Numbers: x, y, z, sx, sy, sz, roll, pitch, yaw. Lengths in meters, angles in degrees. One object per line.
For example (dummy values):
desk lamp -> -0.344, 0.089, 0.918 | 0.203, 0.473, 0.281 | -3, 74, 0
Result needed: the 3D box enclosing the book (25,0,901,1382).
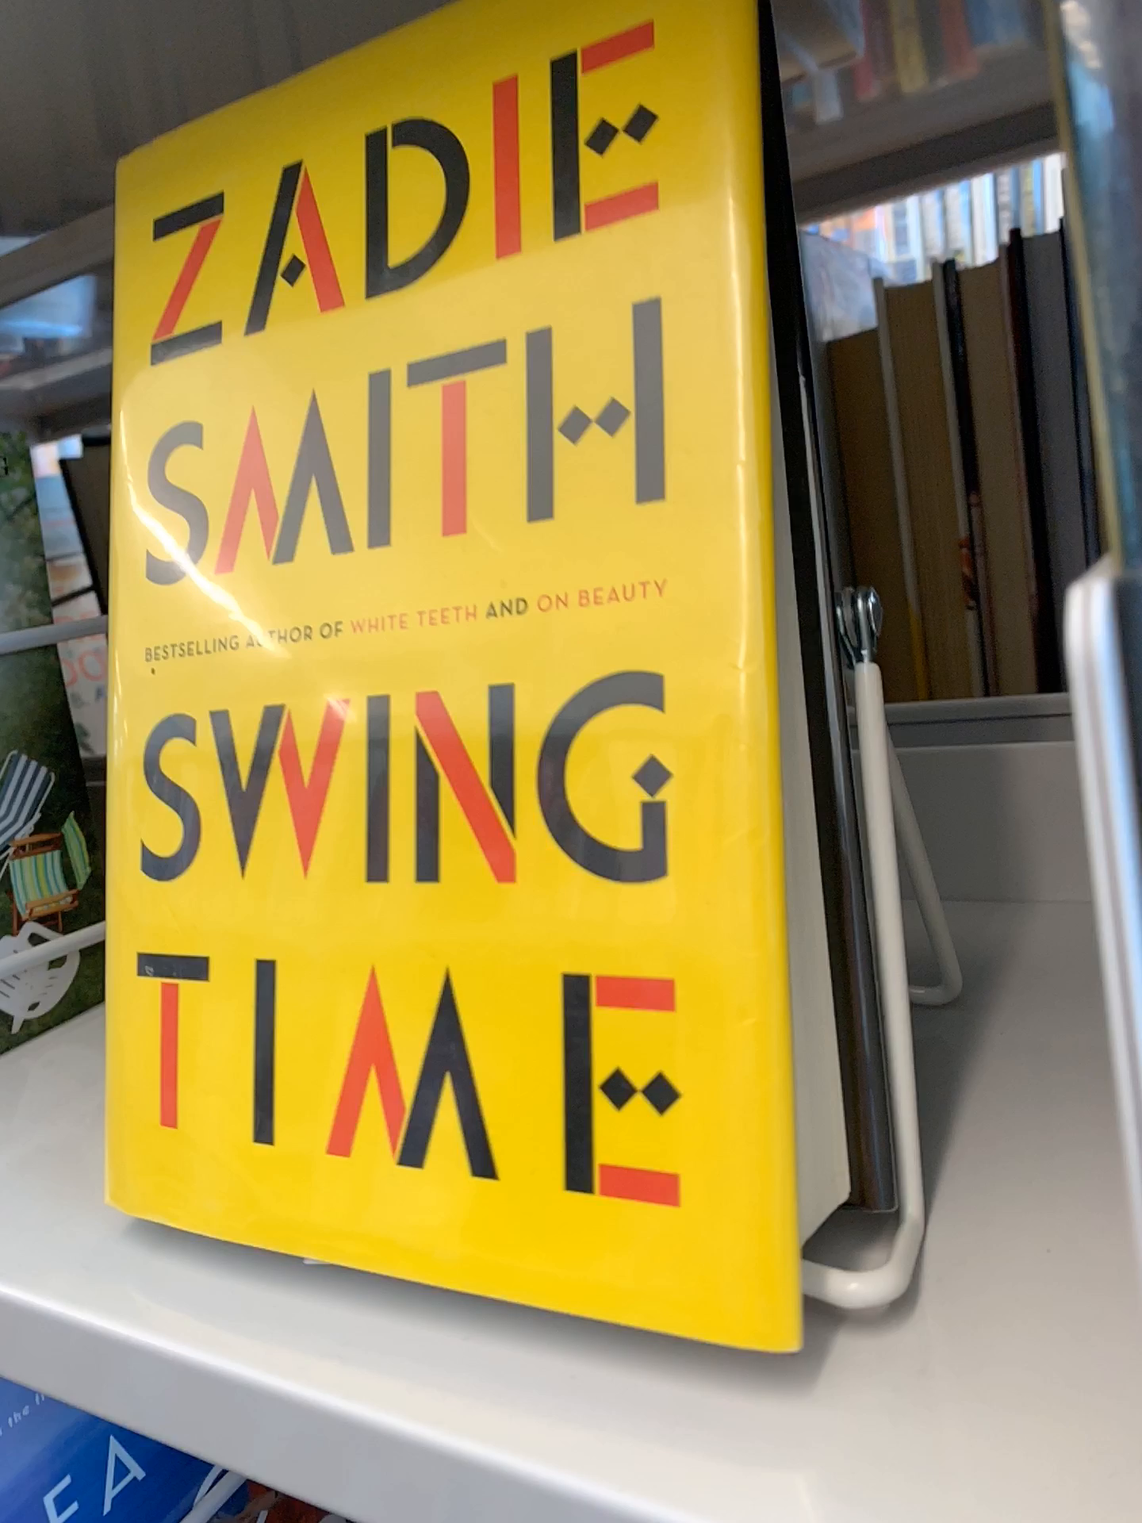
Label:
book -> -0.029, -0.024, 0.243 | 0.168, 0.233, 0.060 | -4, -6, 30
